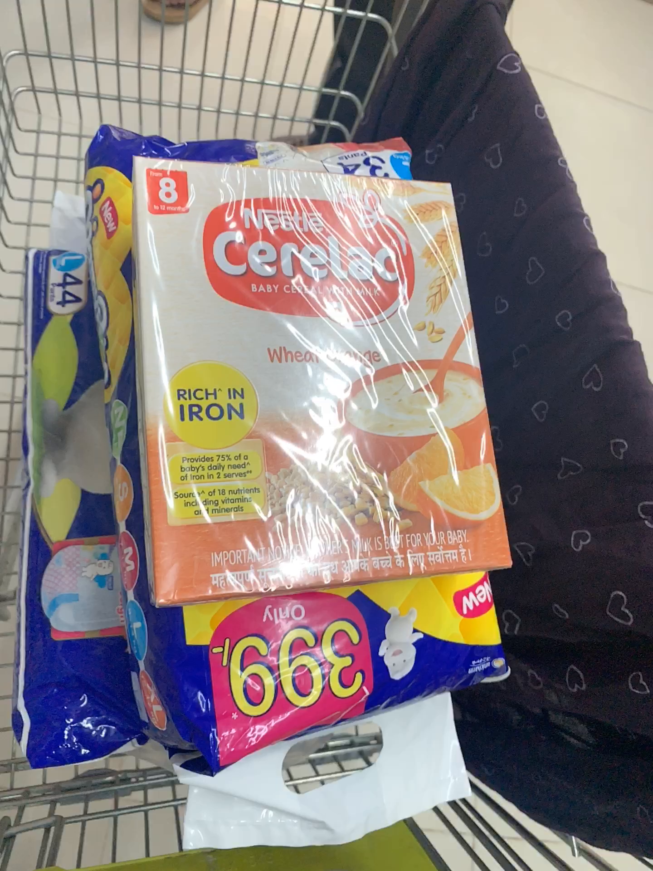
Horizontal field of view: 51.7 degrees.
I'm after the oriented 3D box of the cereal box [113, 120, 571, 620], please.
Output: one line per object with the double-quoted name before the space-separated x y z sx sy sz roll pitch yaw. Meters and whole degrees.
"cereal box" 0.001 -0.029 0.291 0.170 0.050 0.190 -2 78 -16
